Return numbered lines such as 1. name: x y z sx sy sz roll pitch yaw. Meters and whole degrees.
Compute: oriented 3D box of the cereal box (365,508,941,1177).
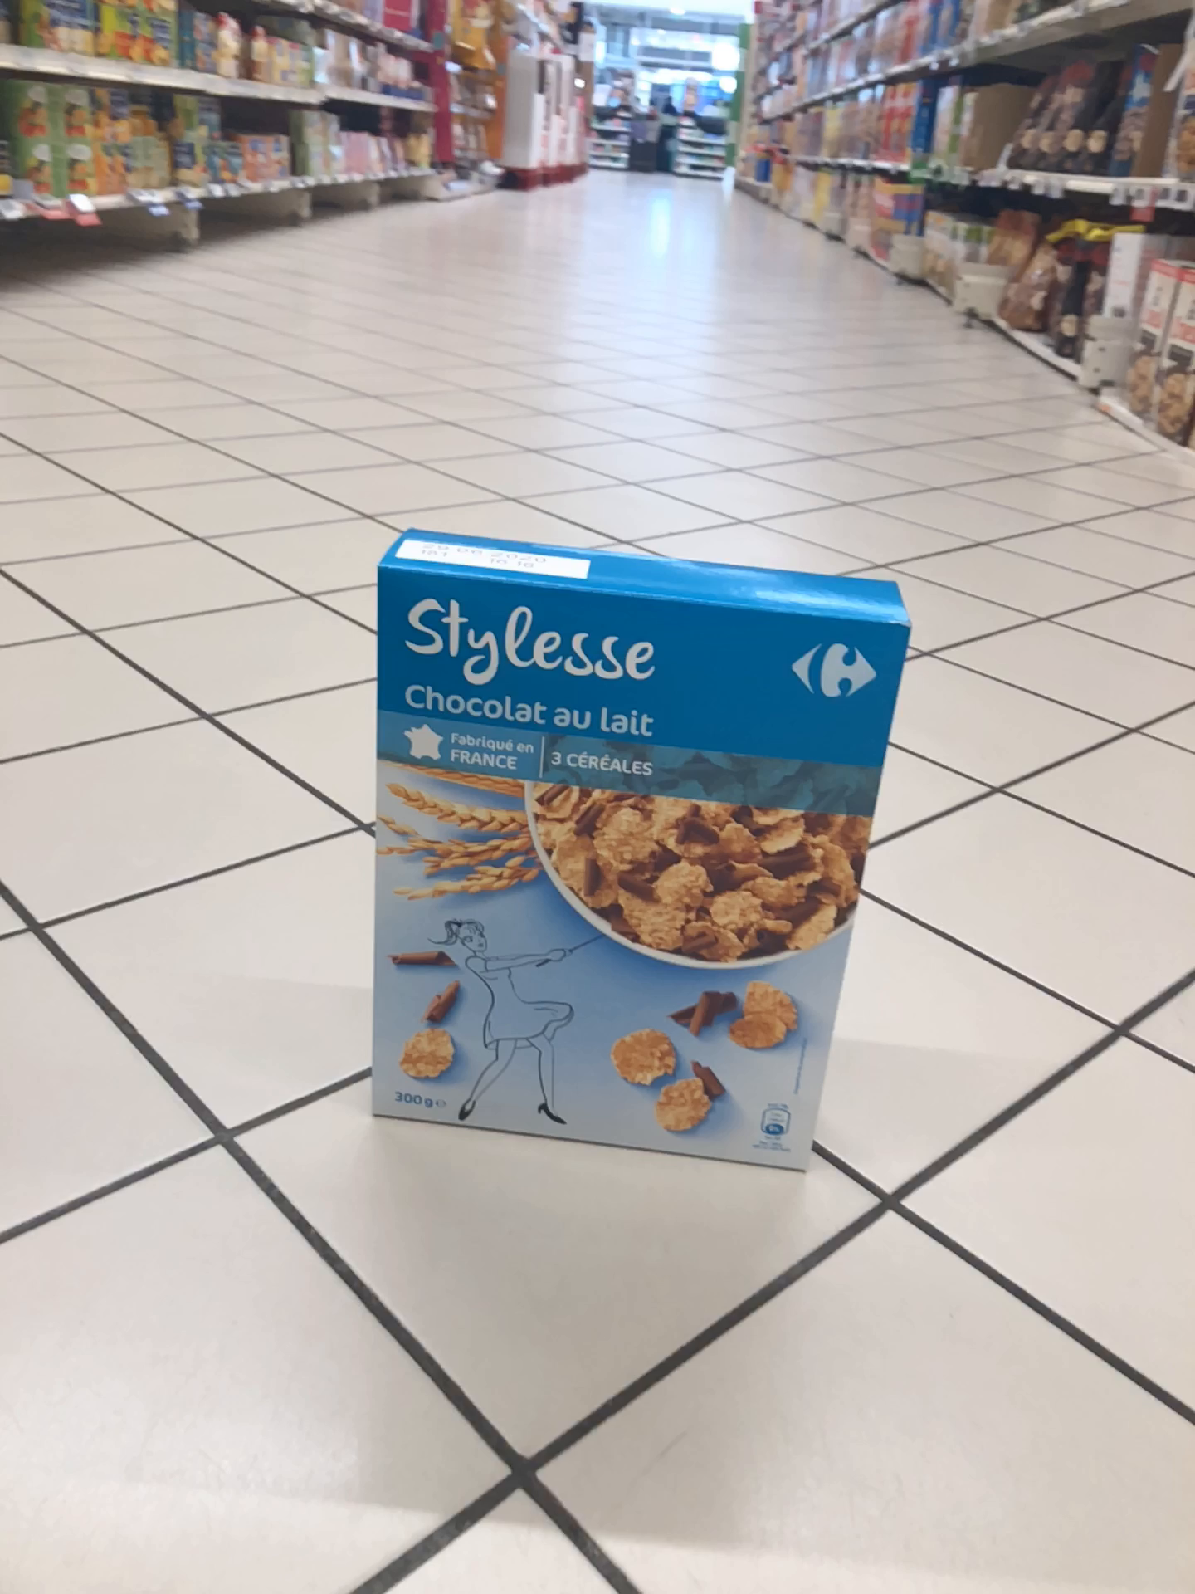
1. cereal box: 0.012 0.023 0.544 0.200 0.249 0.070 7 25 3
